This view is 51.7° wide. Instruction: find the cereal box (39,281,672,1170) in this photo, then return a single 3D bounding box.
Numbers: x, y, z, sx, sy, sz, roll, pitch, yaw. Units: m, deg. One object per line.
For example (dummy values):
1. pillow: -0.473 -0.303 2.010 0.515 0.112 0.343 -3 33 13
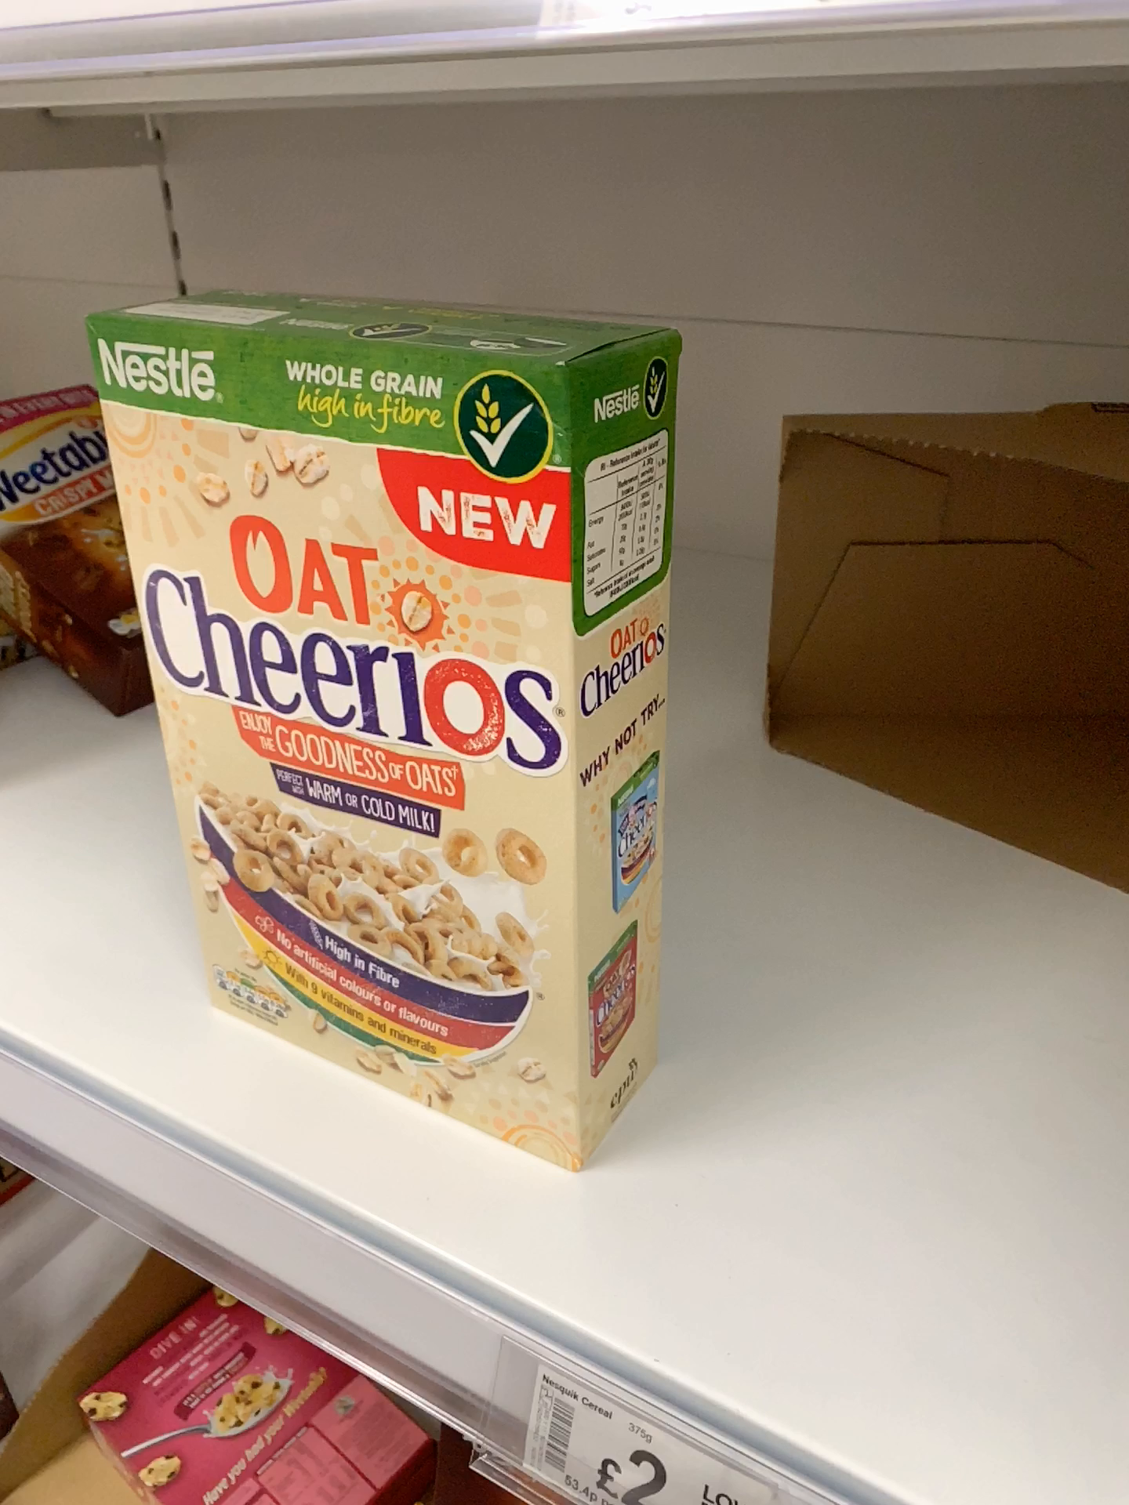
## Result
1. cereal box: -0.068 -0.013 0.433 0.200 0.287 0.070 15 32 28
